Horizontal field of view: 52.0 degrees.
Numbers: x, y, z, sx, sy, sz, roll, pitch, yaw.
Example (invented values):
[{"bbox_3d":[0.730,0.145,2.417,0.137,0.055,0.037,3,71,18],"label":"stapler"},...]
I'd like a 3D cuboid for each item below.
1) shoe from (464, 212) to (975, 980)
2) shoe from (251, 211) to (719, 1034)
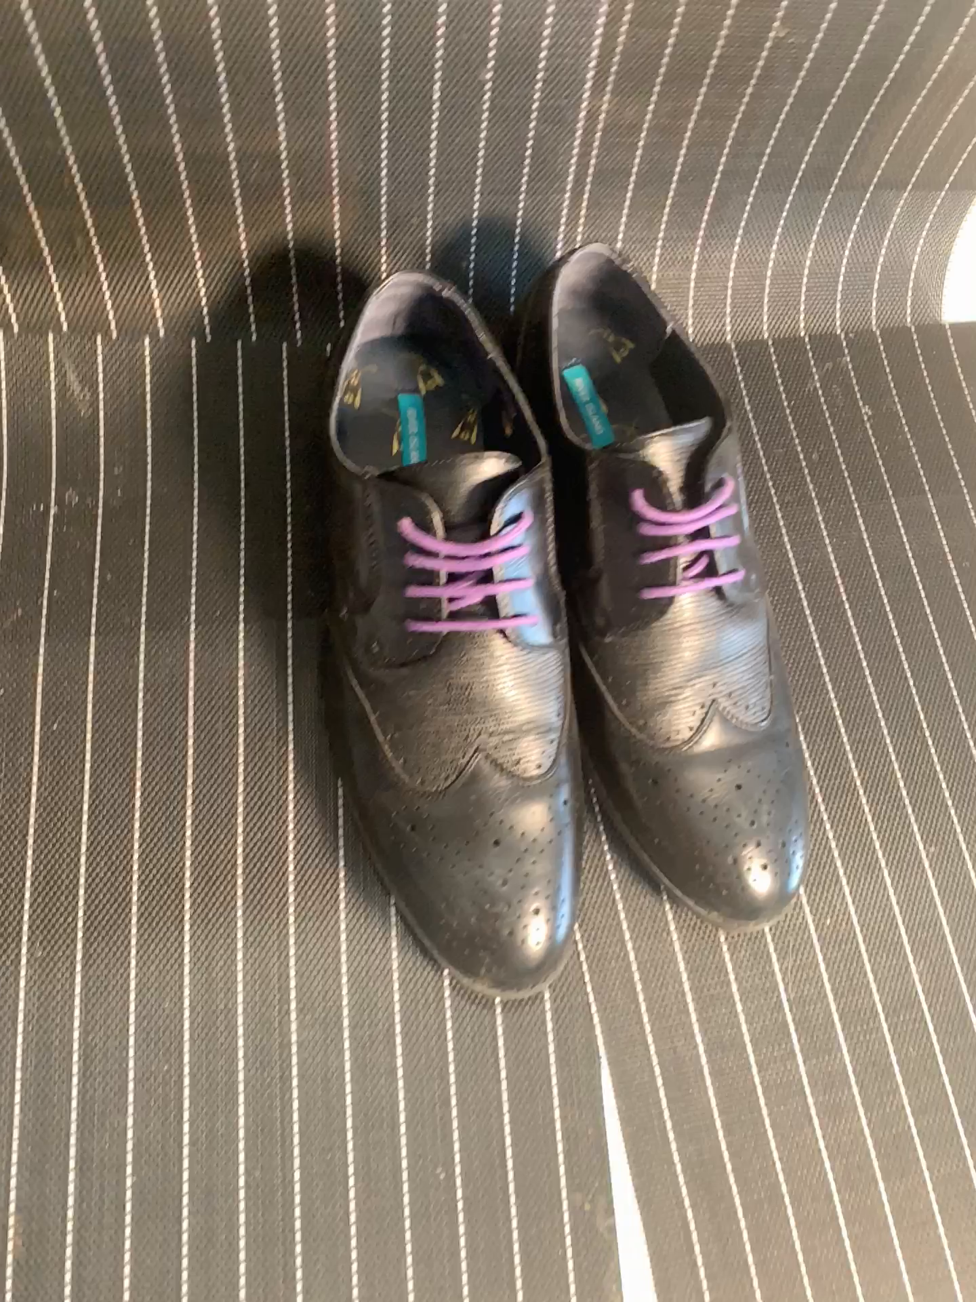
[{"bbox_3d":[0.082,-0.025,0.408,0.110,0.090,0.280,-12,76,-12],"label":"shoe"},{"bbox_3d":[-0.014,-0.017,0.410,0.120,0.100,0.300,-8,75,-11],"label":"shoe"}]
